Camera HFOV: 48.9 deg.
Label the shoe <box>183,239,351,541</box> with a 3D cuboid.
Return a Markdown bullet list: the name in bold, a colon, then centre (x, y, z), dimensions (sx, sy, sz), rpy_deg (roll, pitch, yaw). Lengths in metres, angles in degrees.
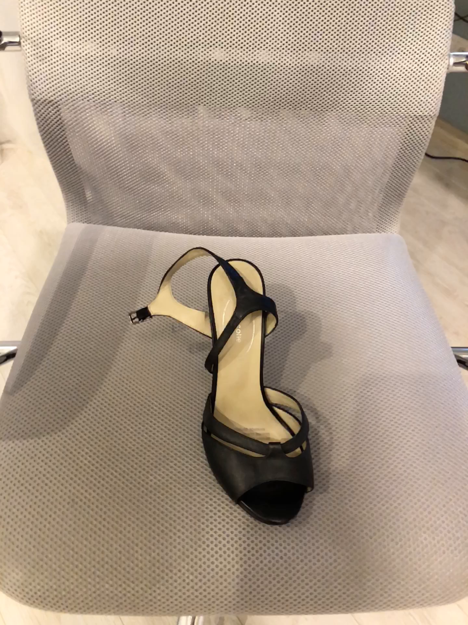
- **shoe**: centre (0.013, 0.058, 0.432), dimensions (0.090, 0.119, 0.211), rpy_deg (-5, 51, -6)
